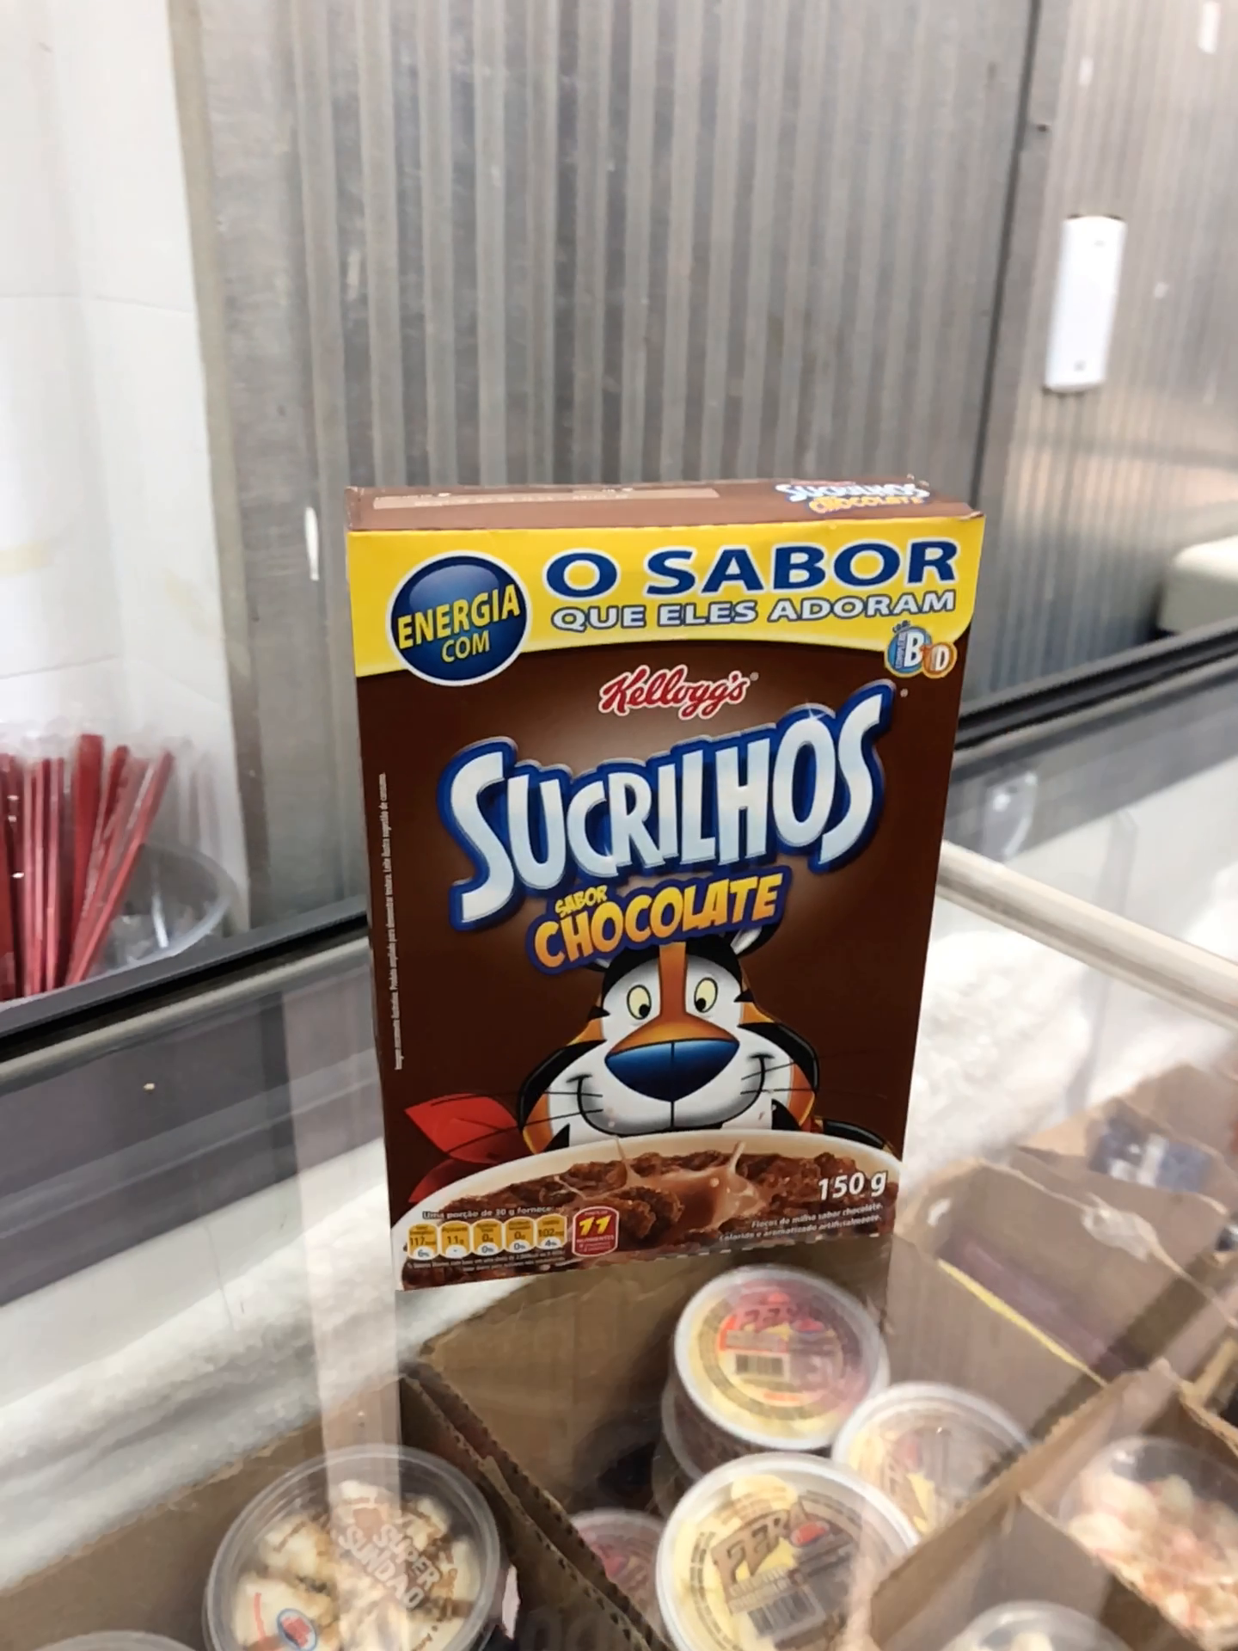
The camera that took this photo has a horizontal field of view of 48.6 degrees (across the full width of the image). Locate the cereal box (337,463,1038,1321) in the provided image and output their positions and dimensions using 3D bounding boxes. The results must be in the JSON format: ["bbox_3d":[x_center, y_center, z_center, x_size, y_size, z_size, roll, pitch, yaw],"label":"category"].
[{"bbox_3d":[0.011,0.019,0.352,0.150,0.209,0.050,-4,25,-12],"label":"cereal box"}]
